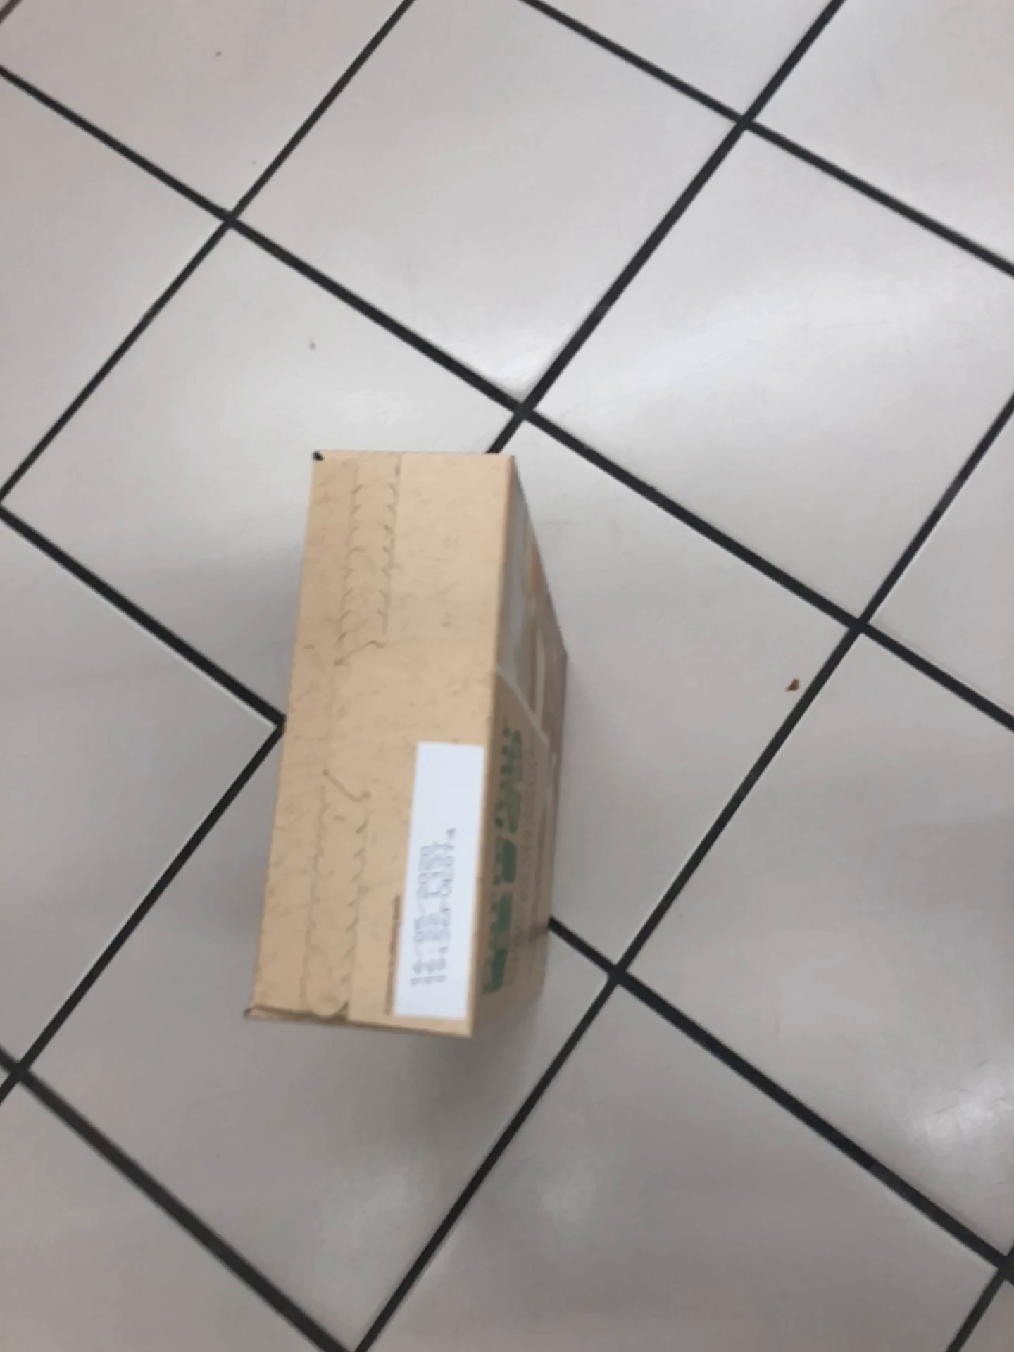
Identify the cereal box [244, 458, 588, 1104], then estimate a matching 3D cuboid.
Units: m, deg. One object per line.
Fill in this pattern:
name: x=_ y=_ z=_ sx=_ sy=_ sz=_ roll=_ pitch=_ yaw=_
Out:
cereal box: x=-0.014 y=0.047 z=0.410 sx=0.070 sy=0.230 sz=0.170 roll=4 pitch=78 yaw=7
